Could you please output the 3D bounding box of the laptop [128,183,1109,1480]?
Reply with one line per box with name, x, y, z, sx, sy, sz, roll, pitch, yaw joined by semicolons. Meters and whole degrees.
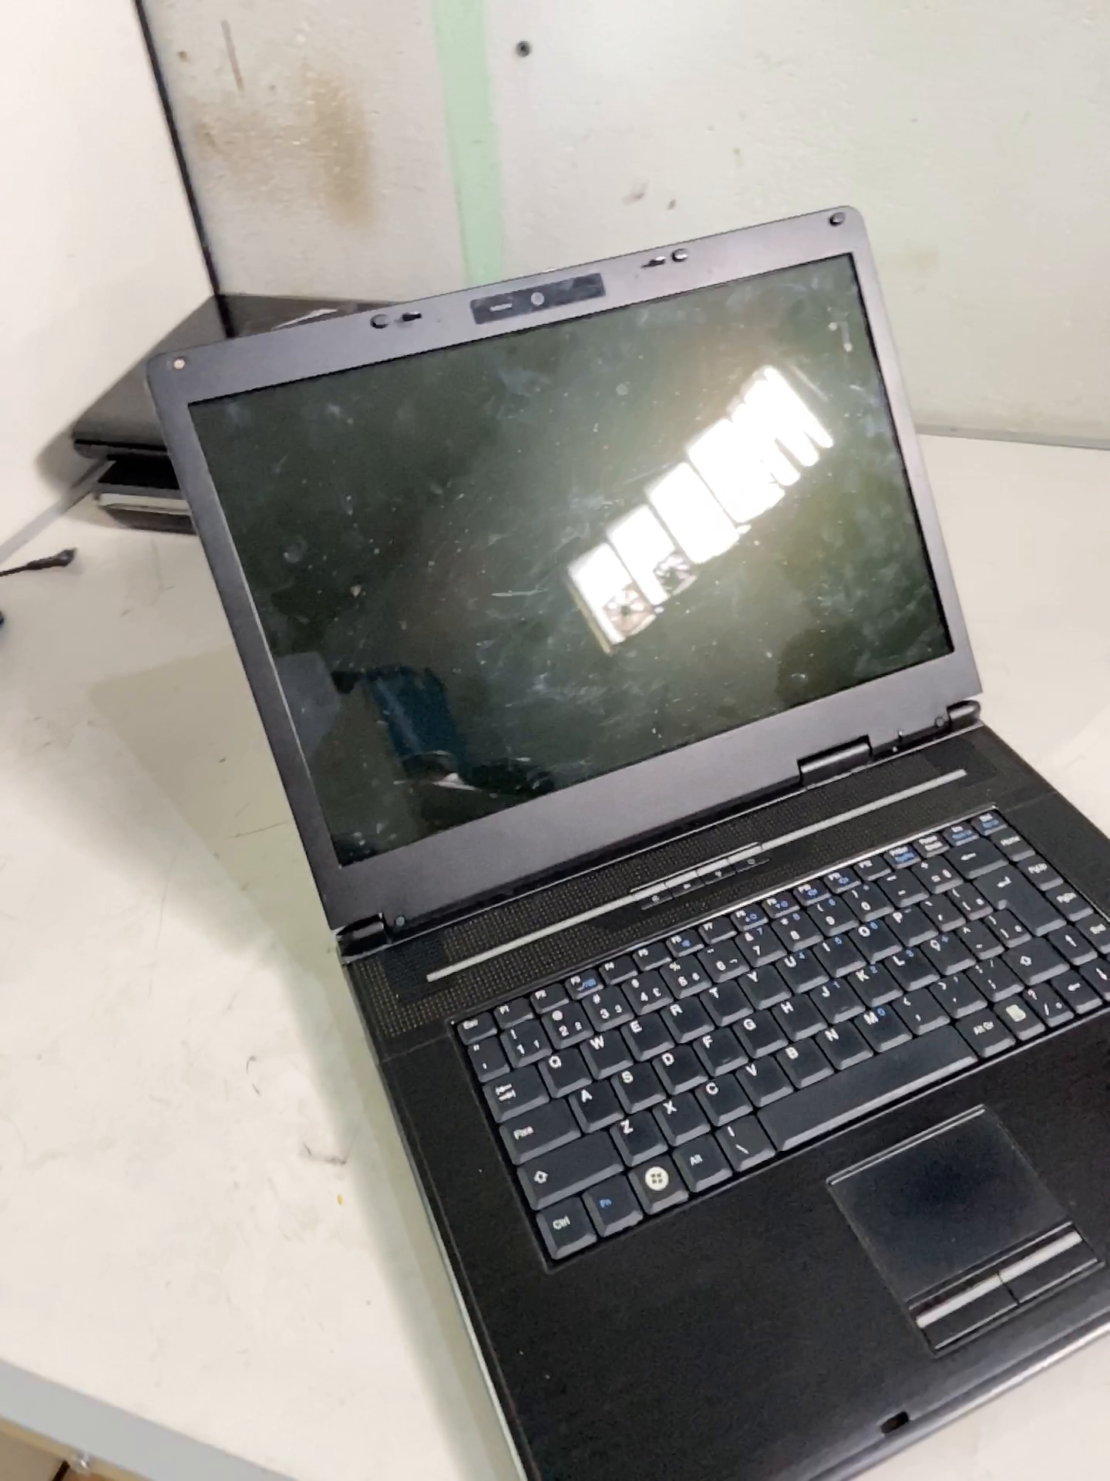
laptop;0.073;-0.007;0.457;0.351;0.224;0.431;-19;46;-14
